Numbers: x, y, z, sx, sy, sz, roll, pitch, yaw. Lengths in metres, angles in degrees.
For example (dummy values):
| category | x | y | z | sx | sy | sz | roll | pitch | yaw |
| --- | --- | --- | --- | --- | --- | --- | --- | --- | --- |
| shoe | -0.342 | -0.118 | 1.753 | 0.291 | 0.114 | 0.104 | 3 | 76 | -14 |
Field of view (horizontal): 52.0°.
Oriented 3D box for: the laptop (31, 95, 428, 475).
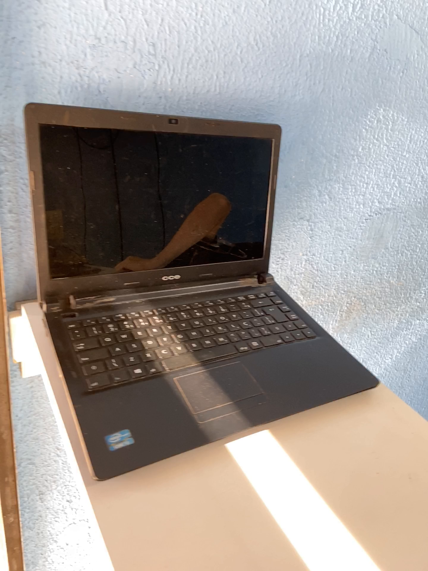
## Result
| category | x | y | z | sx | sy | sz | roll | pitch | yaw |
| --- | --- | --- | --- | --- | --- | --- | --- | --- | --- |
| laptop | 0.000 | -0.045 | 0.499 | 0.334 | 0.210 | 0.313 | -7 | 36 | -29 |
